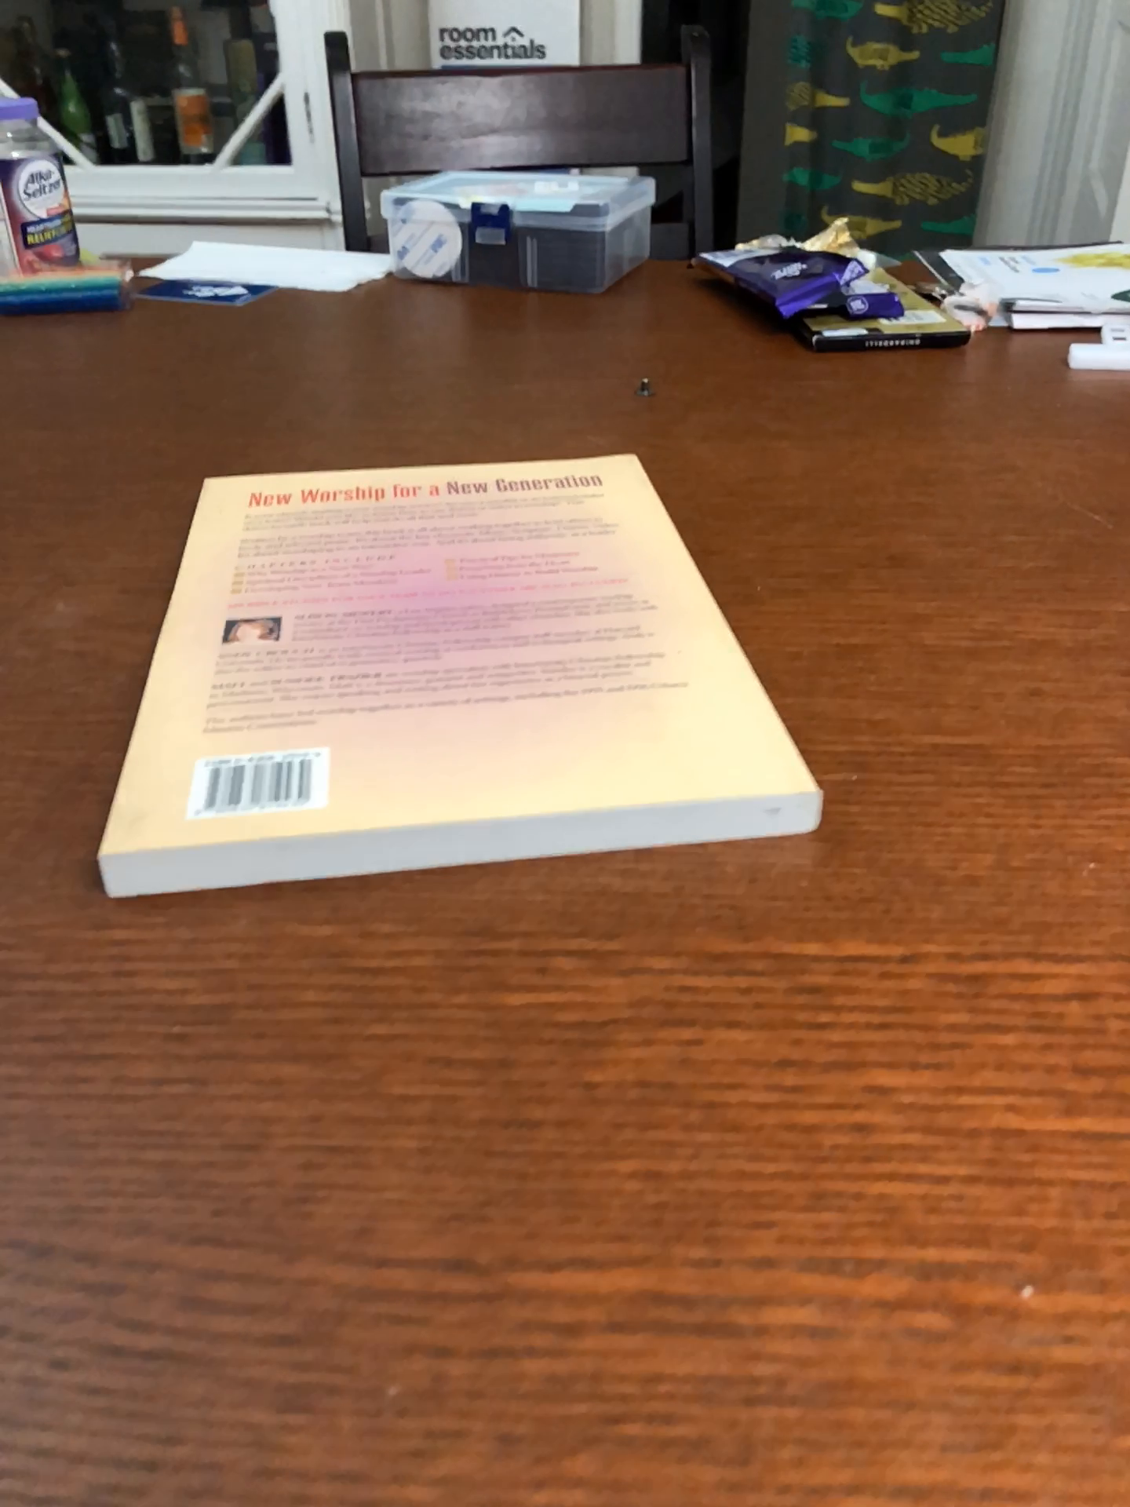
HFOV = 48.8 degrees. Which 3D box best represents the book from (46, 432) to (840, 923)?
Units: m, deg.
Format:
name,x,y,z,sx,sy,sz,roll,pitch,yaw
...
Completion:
name,x,y,z,sx,sy,sz,roll,pitch,yaw
book,-0.046,-0.049,0.417,0.190,0.020,0.272,-5,33,-7
